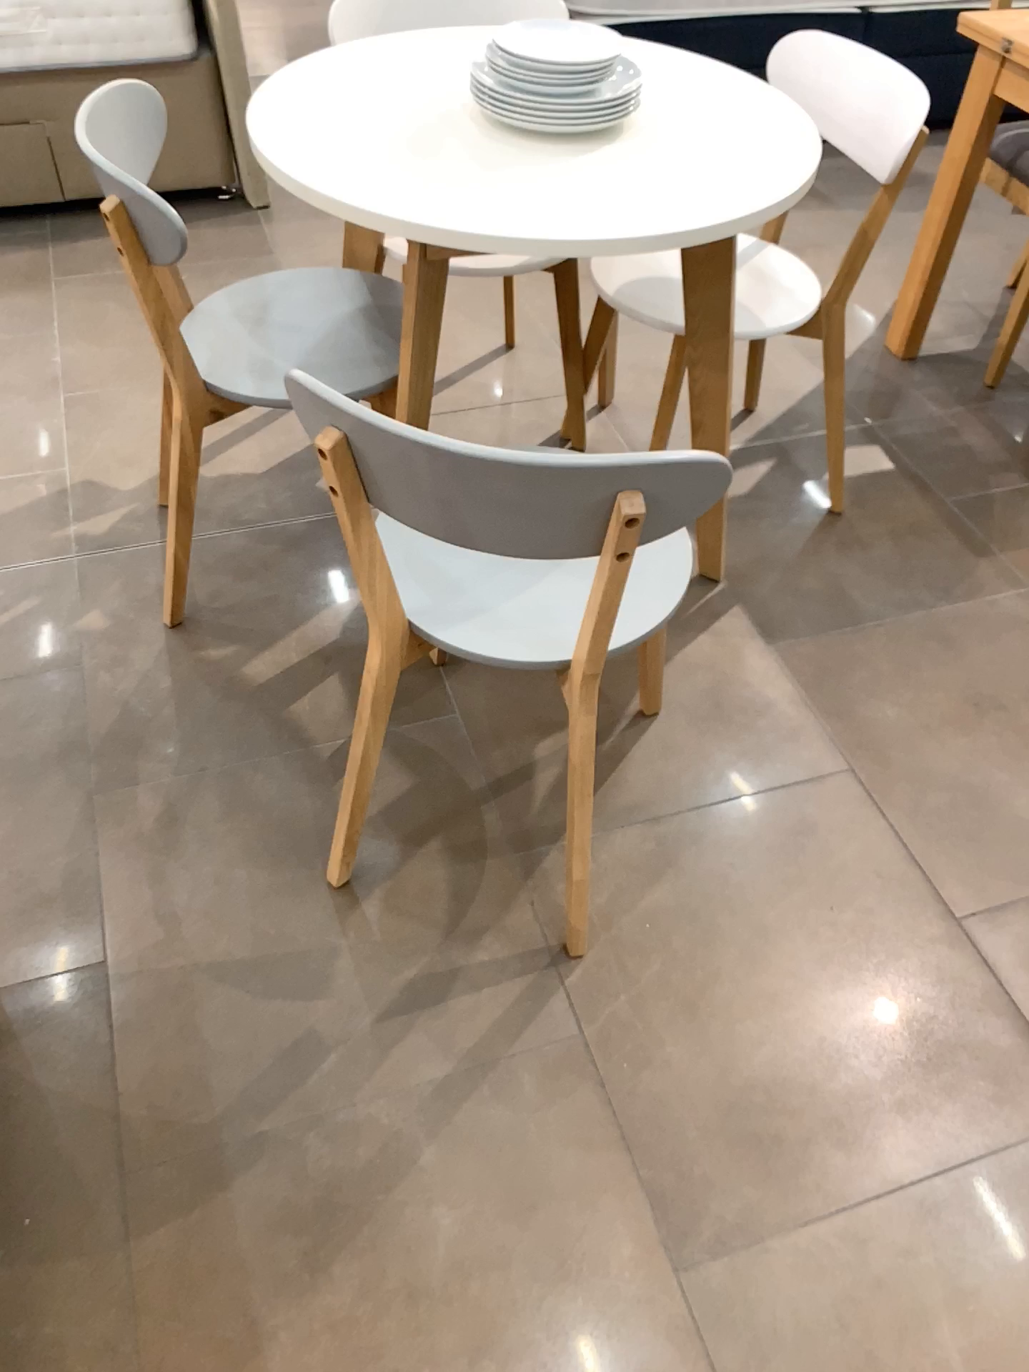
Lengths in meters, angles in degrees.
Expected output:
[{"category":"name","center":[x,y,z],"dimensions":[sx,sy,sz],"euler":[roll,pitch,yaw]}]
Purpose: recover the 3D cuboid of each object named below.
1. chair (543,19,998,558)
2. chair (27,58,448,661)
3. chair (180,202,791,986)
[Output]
[{"category":"chair","center":[0.416,-0.766,2.055],"dimensions":[0.541,0.799,0.523],"euler":[-11,48,-13]},{"category":"chair","center":[-0.447,-0.556,1.834],"dimensions":[0.541,0.799,0.523],"euler":[-11,48,-14]},{"category":"chair","center":[-0.006,-0.098,1.402],"dimensions":[0.519,0.799,0.535],"euler":[13,47,9]}]
